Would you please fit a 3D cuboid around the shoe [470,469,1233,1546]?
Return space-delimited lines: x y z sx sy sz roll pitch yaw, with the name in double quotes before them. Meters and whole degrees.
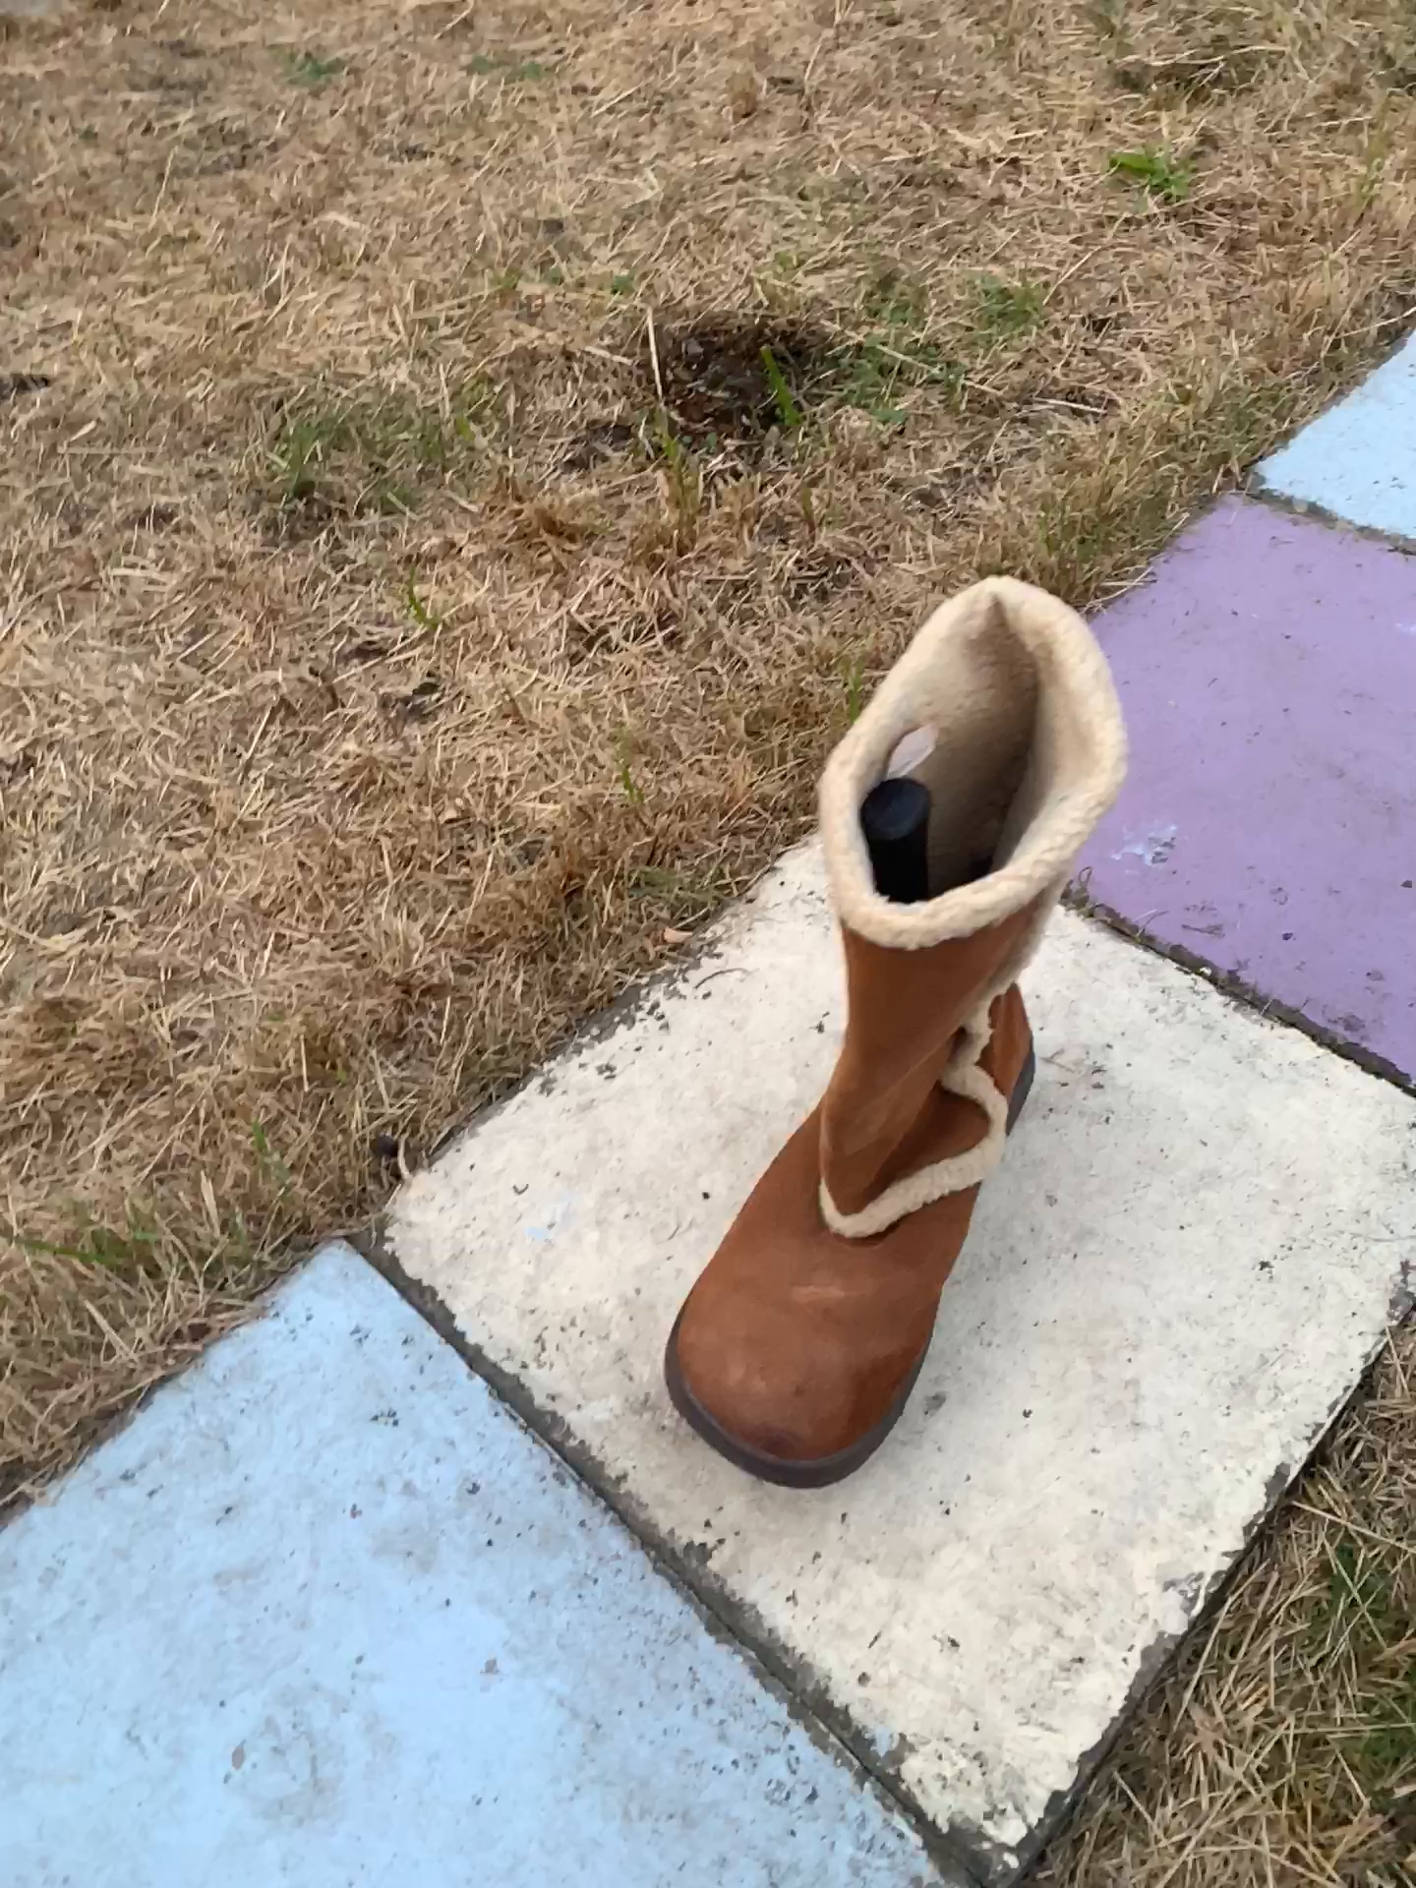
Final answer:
"shoe" 0.065 0.033 0.542 0.110 0.297 0.261 25 56 24
